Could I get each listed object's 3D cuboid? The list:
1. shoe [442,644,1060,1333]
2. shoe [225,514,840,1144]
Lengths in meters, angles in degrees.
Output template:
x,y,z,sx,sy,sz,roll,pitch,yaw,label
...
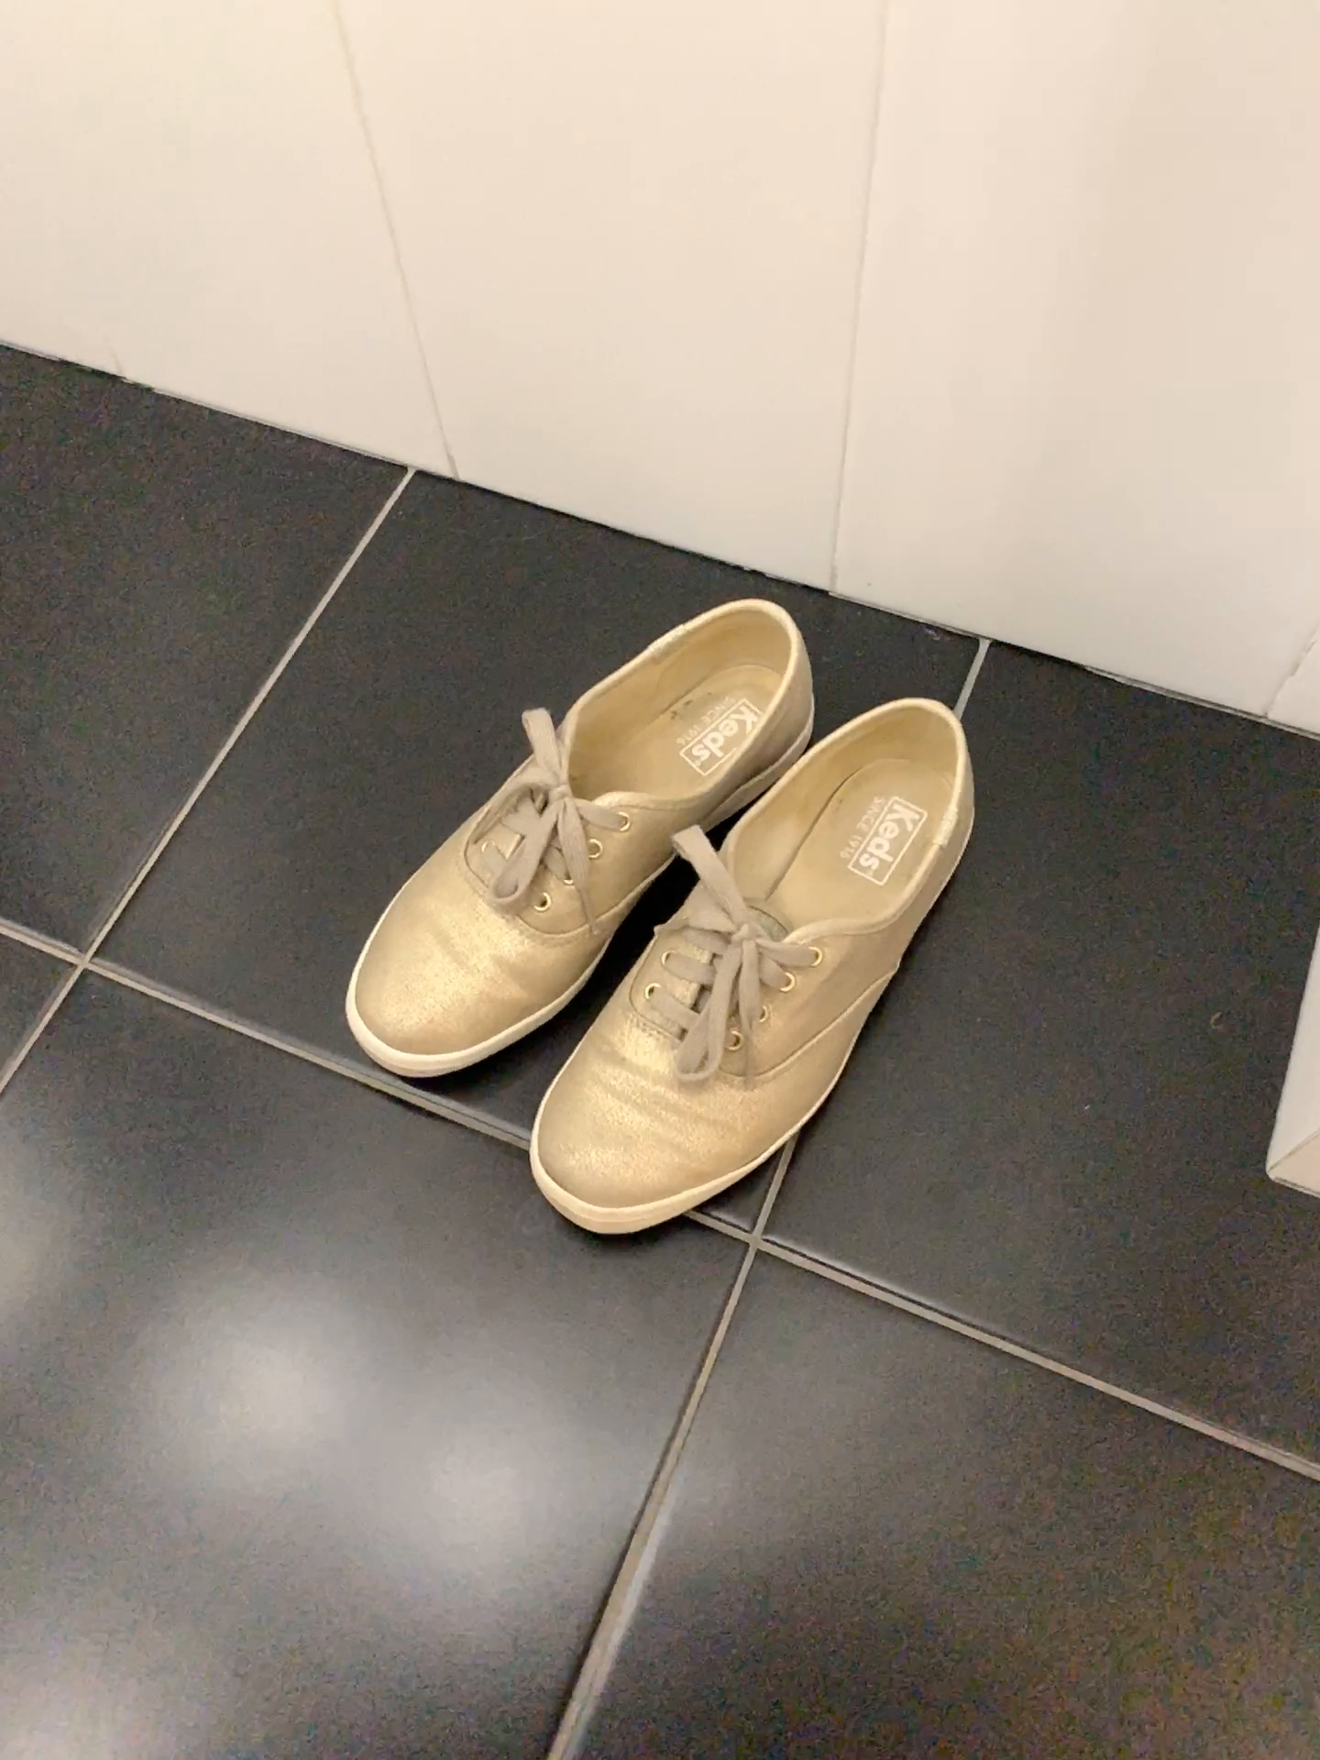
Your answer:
x,y,z,sx,sy,sz,roll,pitch,yaw,label
0.039,0.038,0.506,0.090,0.100,0.230,35,68,19,shoe
-0.040,-0.023,0.540,0.090,0.100,0.230,38,70,20,shoe
